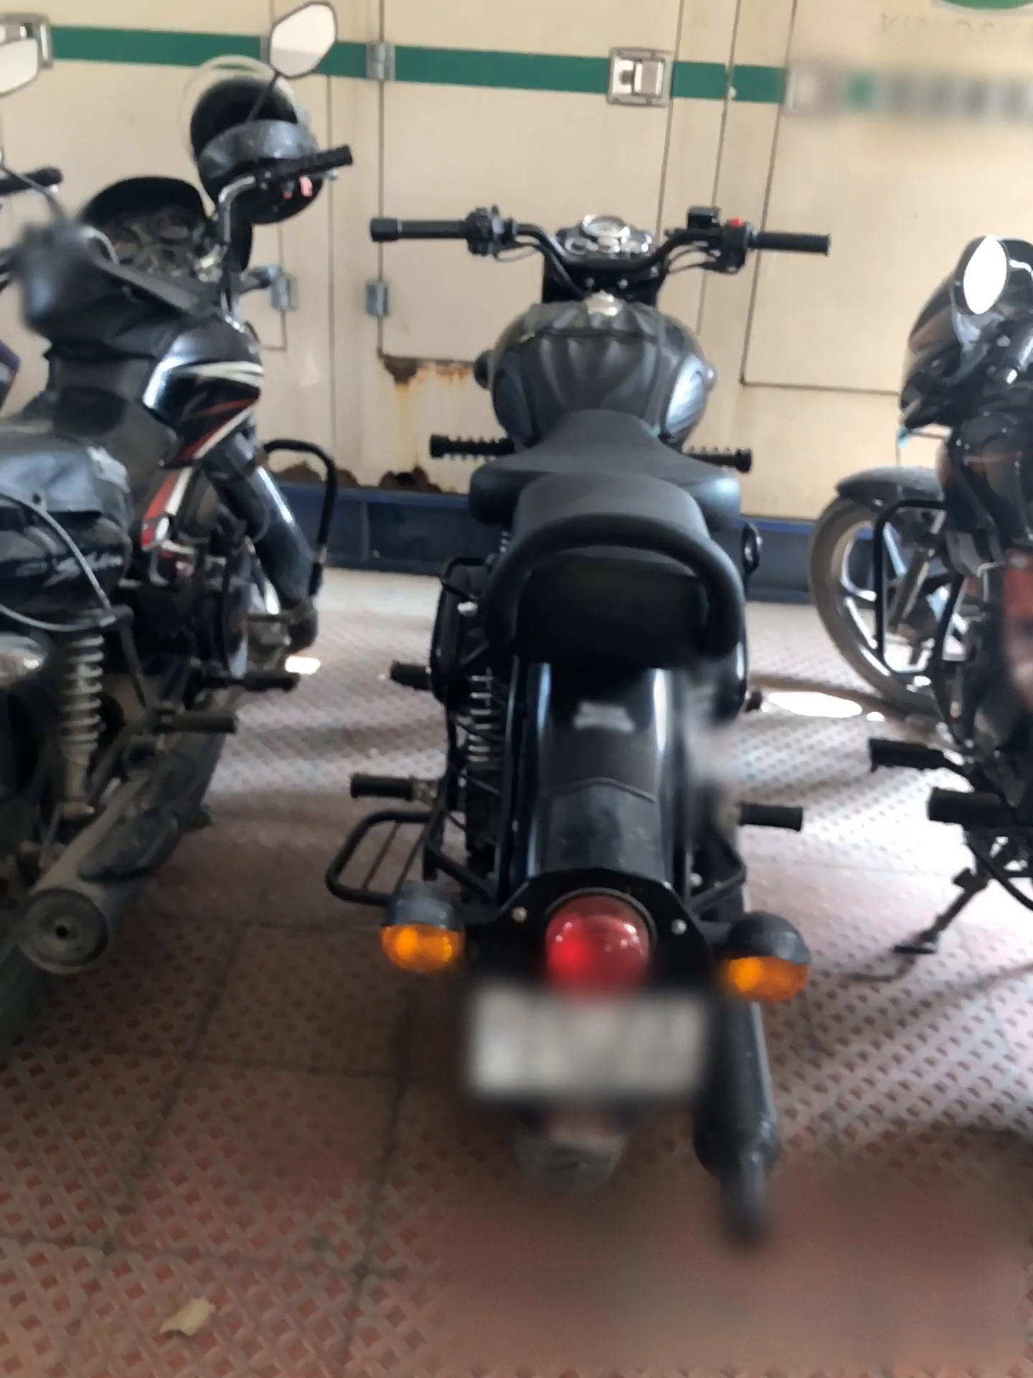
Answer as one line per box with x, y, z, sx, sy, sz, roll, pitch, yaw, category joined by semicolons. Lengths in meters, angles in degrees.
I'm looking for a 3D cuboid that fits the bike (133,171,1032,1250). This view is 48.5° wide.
0.037;-0.219;1.807;0.708;0.919;1.696;3;28;-1;bike
